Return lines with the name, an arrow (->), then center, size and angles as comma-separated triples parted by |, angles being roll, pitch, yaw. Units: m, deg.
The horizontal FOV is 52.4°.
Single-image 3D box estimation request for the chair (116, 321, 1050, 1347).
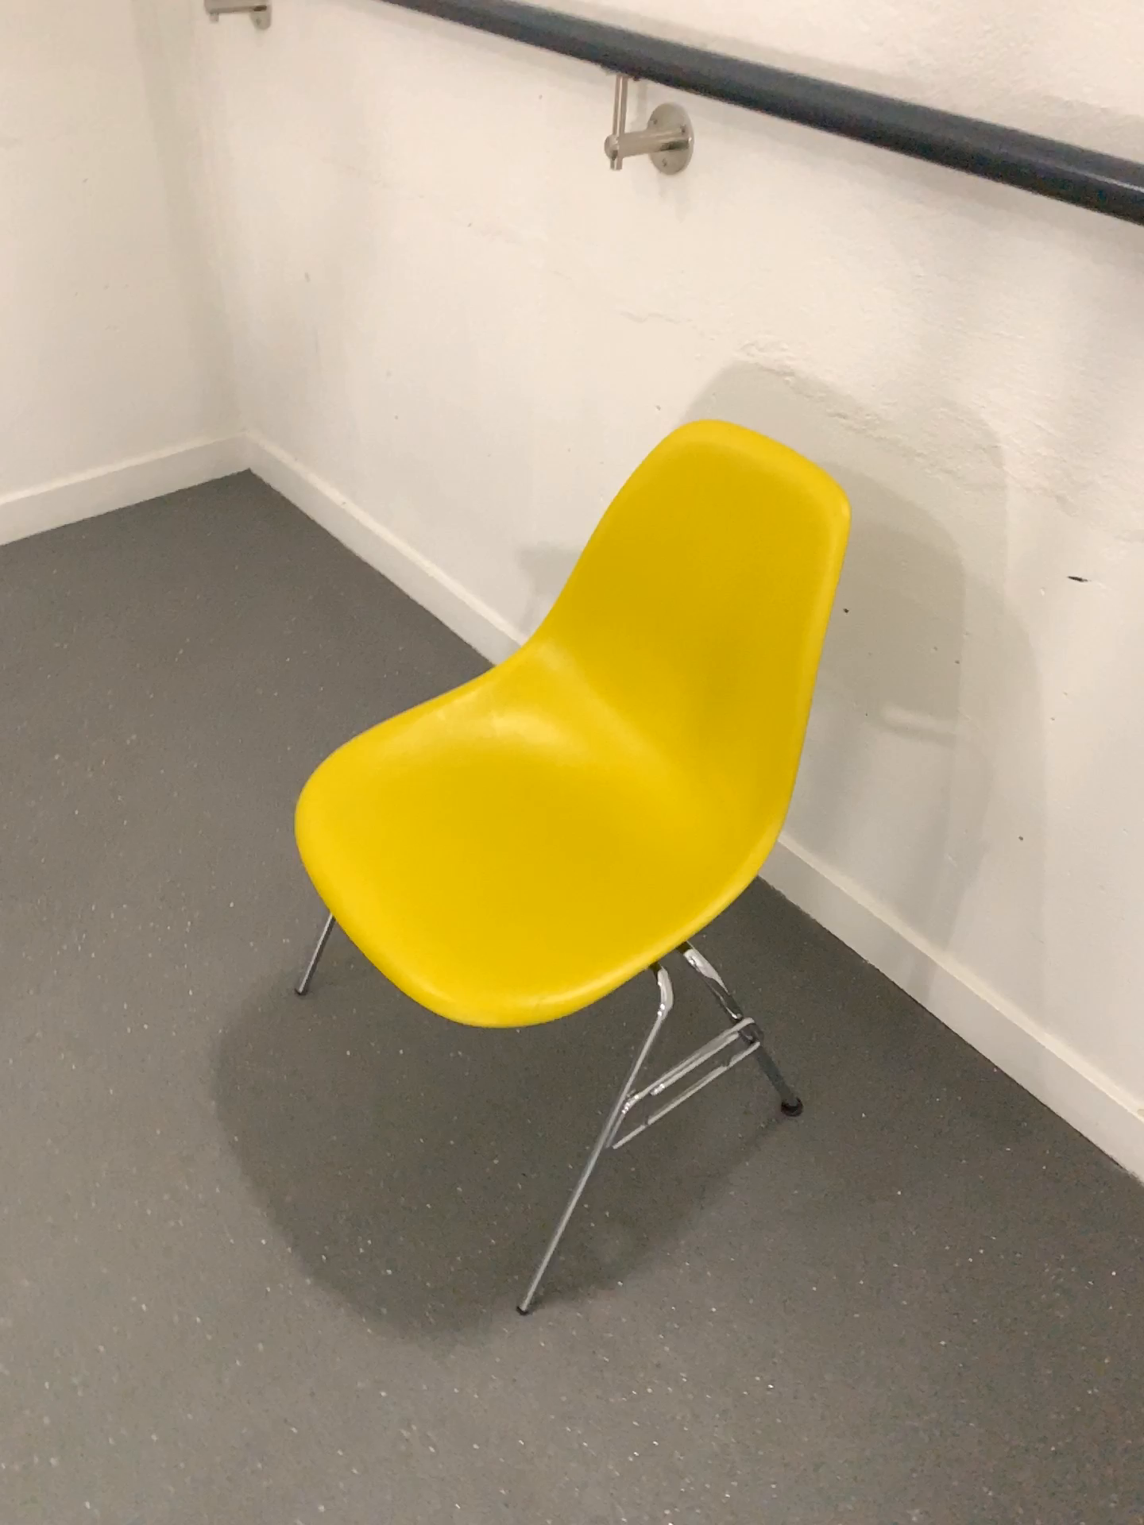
chair -> -0.026, 0.041, 1.260 | 0.562, 0.733, 0.624 | -25, 48, -29
